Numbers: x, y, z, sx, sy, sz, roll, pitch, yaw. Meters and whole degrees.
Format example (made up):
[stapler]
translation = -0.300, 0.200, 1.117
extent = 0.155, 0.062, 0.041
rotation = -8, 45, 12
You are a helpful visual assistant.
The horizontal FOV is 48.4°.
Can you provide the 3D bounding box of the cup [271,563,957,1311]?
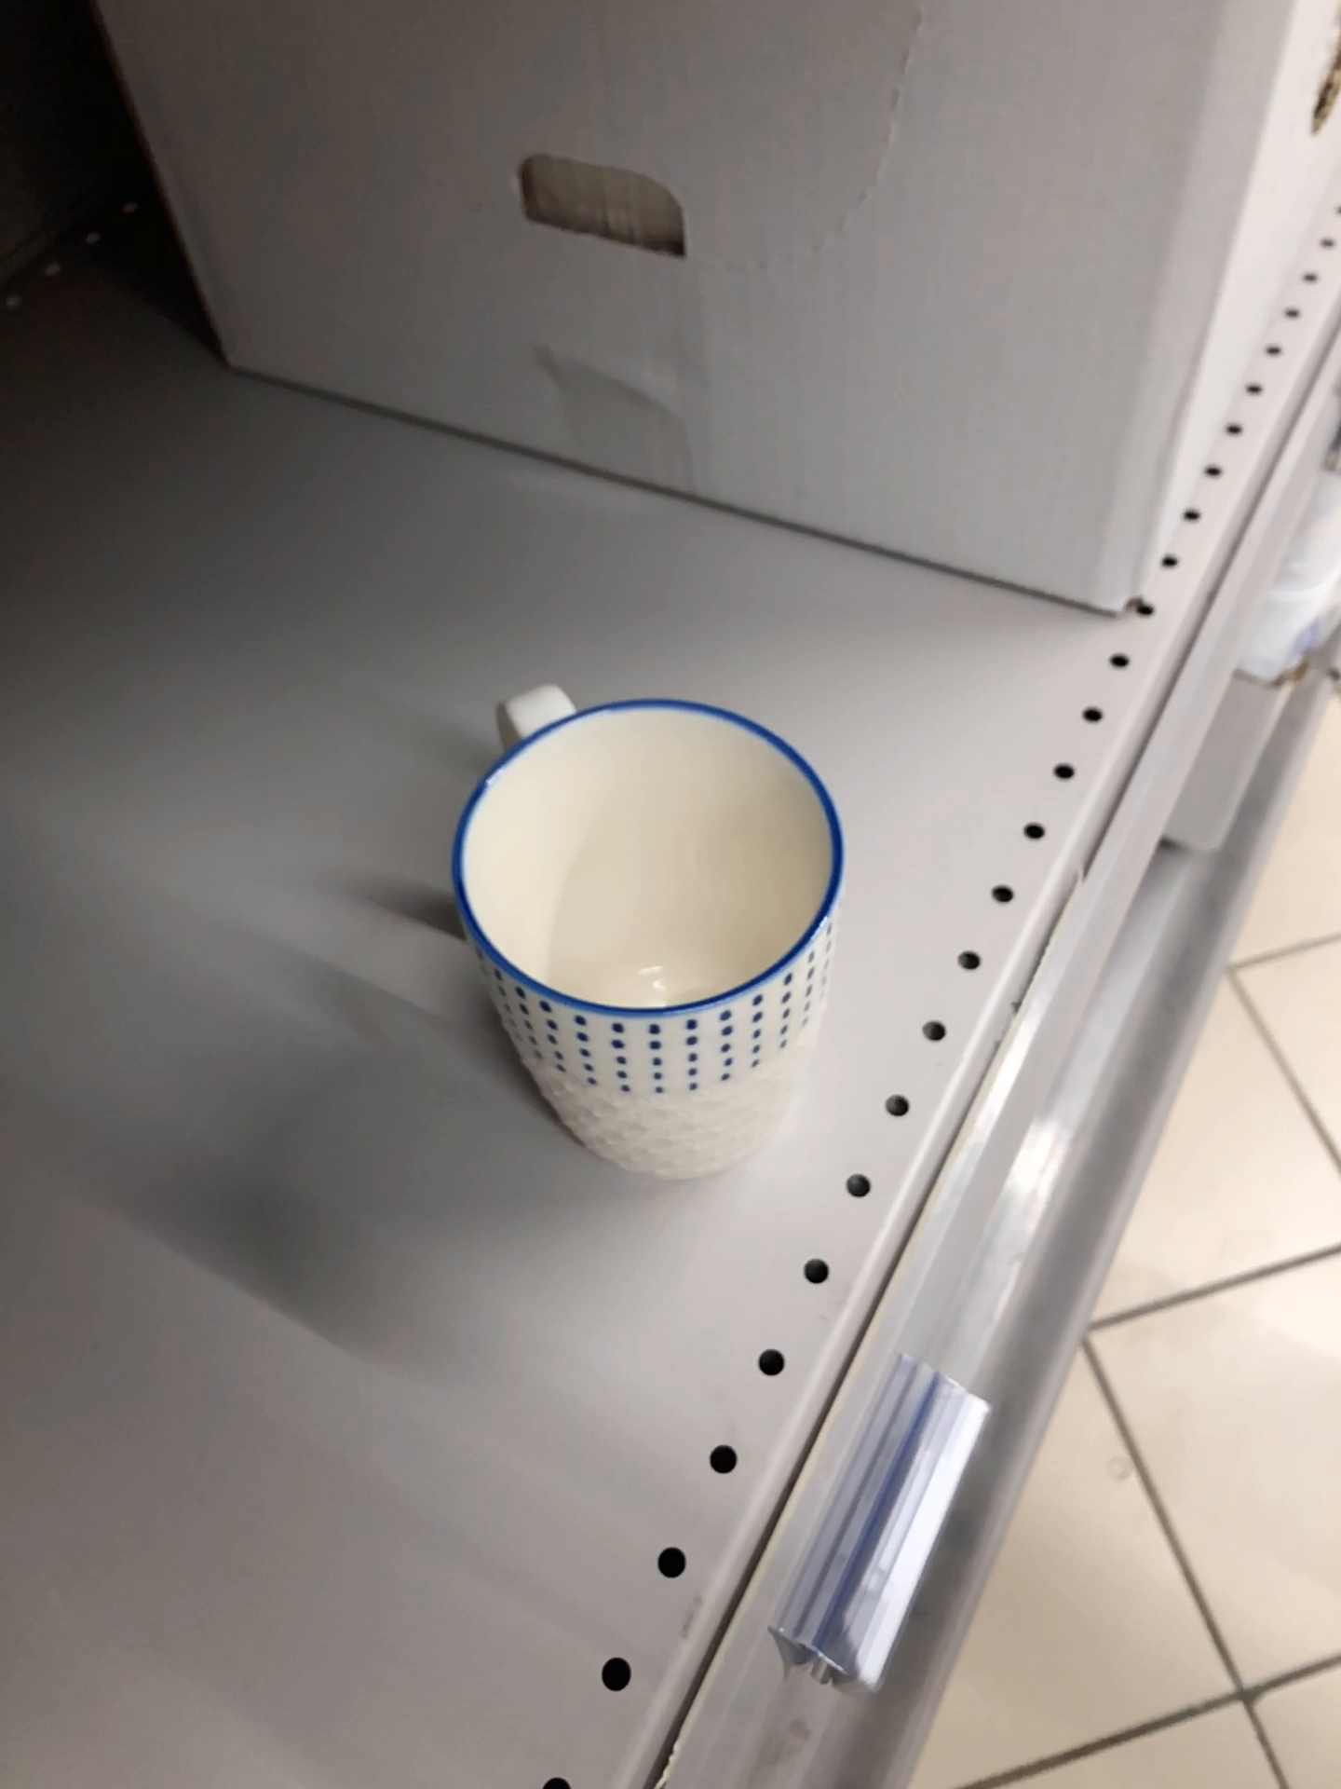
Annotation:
[cup]
translation = -0.013, 0.009, 0.362
extent = 0.097, 0.096, 0.119
rotation = -34, 60, -18
